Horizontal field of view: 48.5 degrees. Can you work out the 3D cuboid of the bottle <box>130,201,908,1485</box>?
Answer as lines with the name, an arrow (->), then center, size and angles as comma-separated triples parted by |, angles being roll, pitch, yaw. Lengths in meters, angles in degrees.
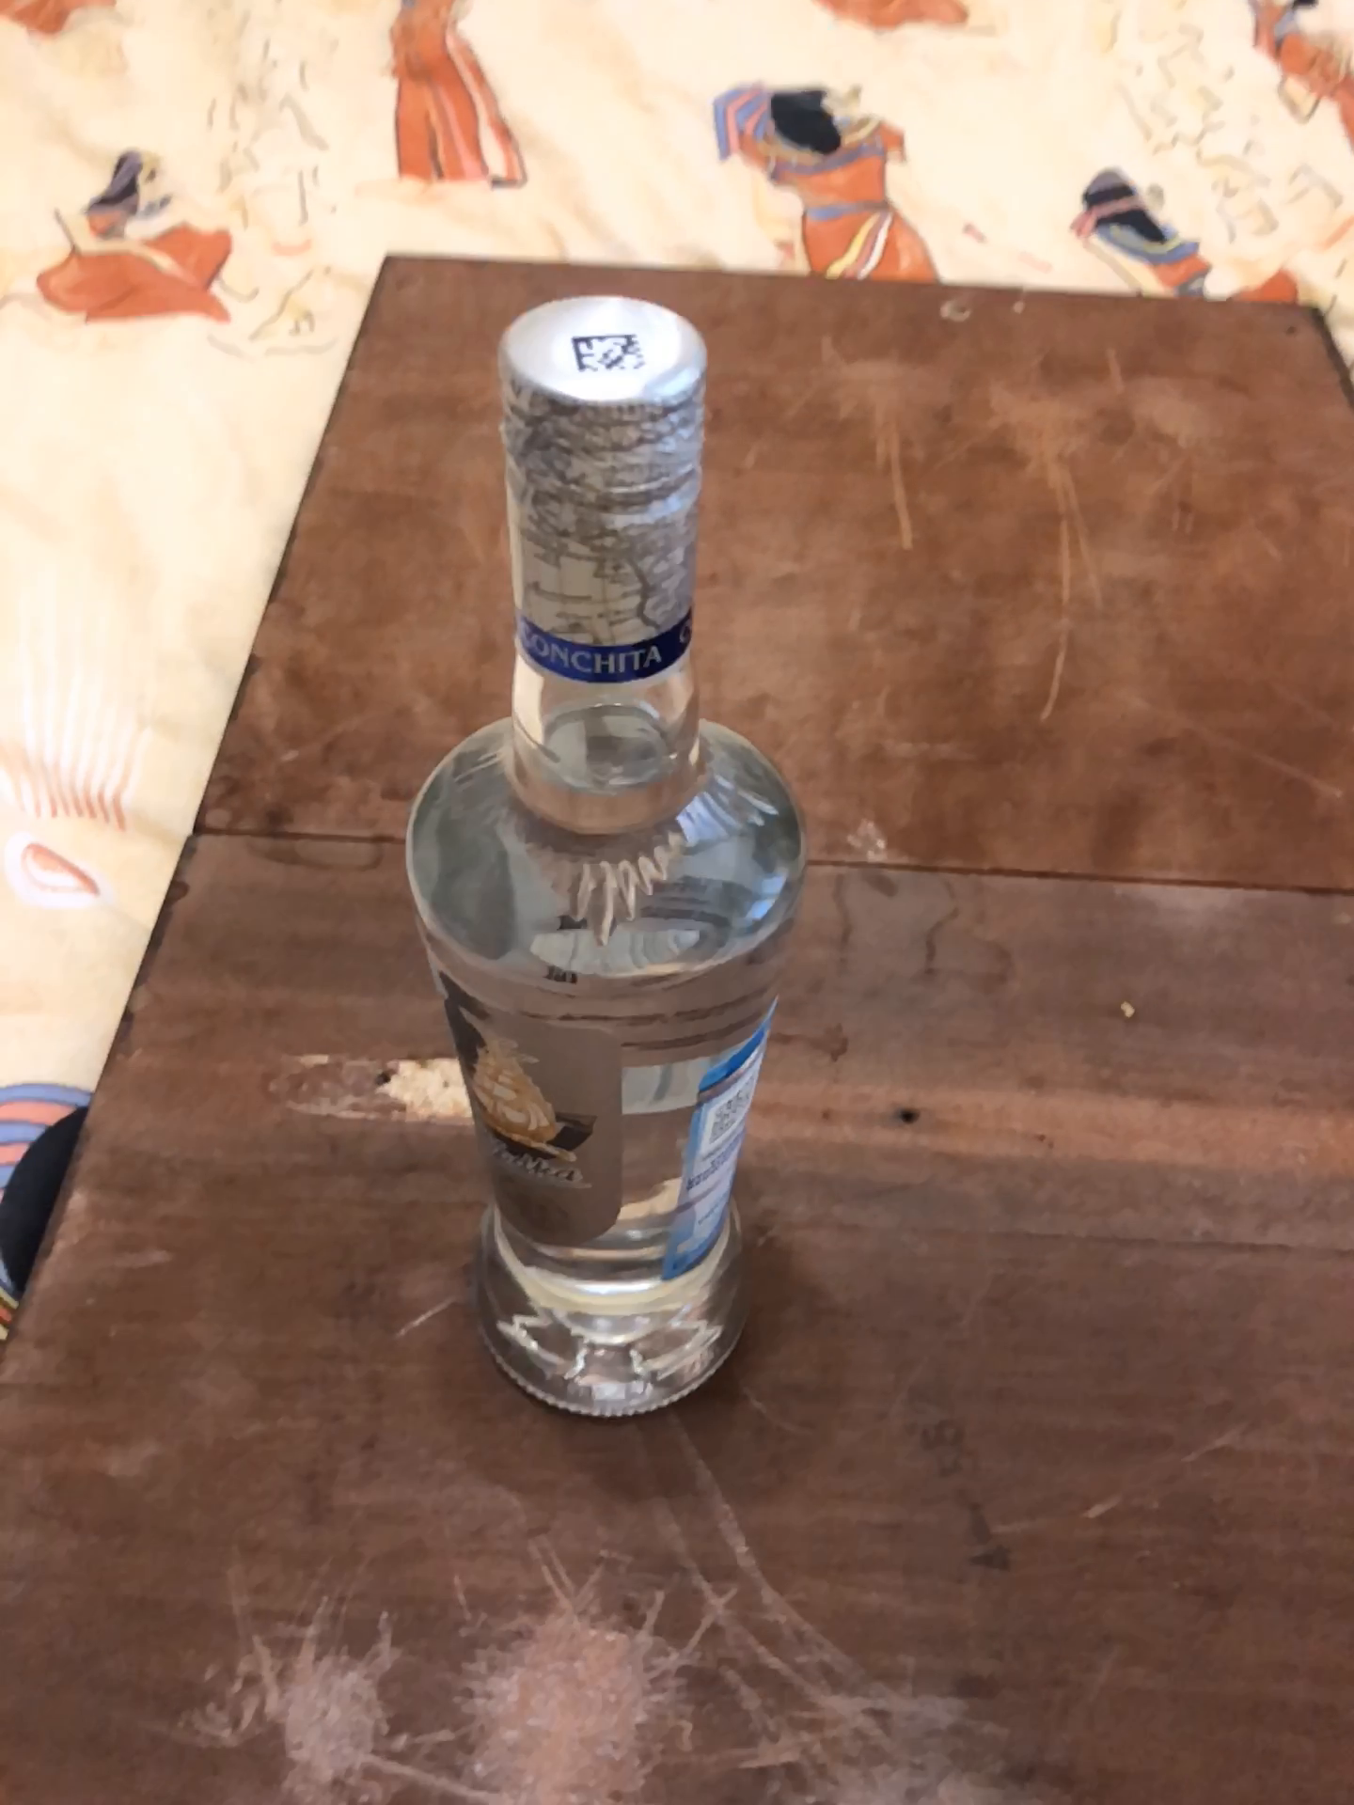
bottle -> -0.022, 0.018, 0.306 | 0.075, 0.273, 0.077 | 0, 50, 0
